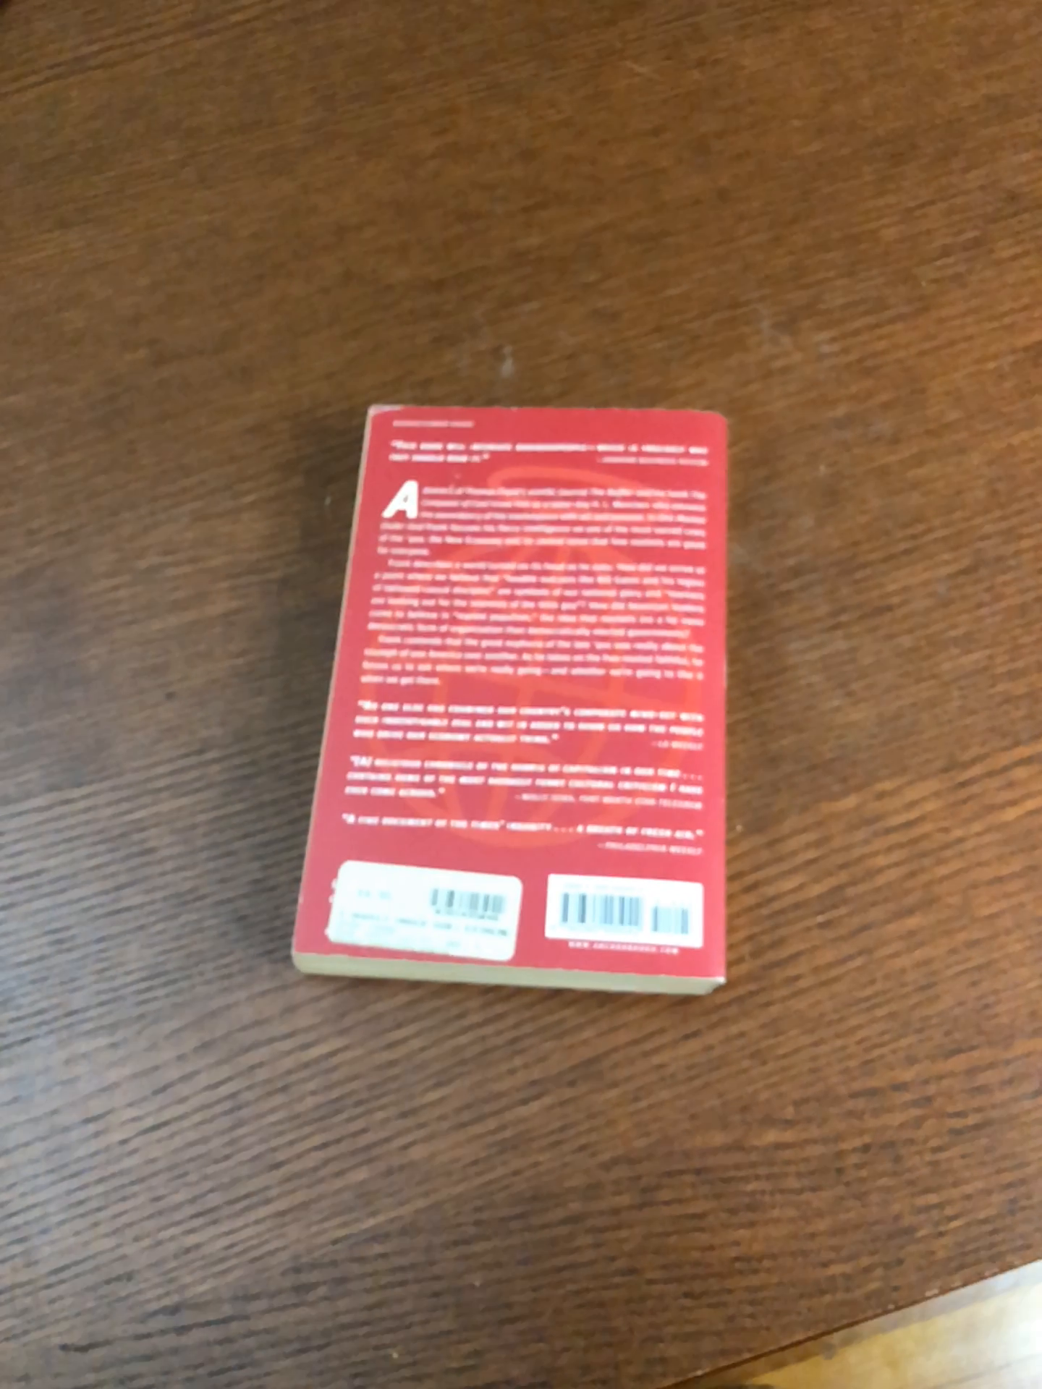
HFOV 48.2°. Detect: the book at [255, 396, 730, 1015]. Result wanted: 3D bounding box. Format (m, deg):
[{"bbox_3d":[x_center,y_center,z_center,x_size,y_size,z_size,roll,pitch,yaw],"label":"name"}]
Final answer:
[{"bbox_3d":[-0.001,-0.005,0.397,0.140,0.030,0.210,2,67,6],"label":"book"}]
